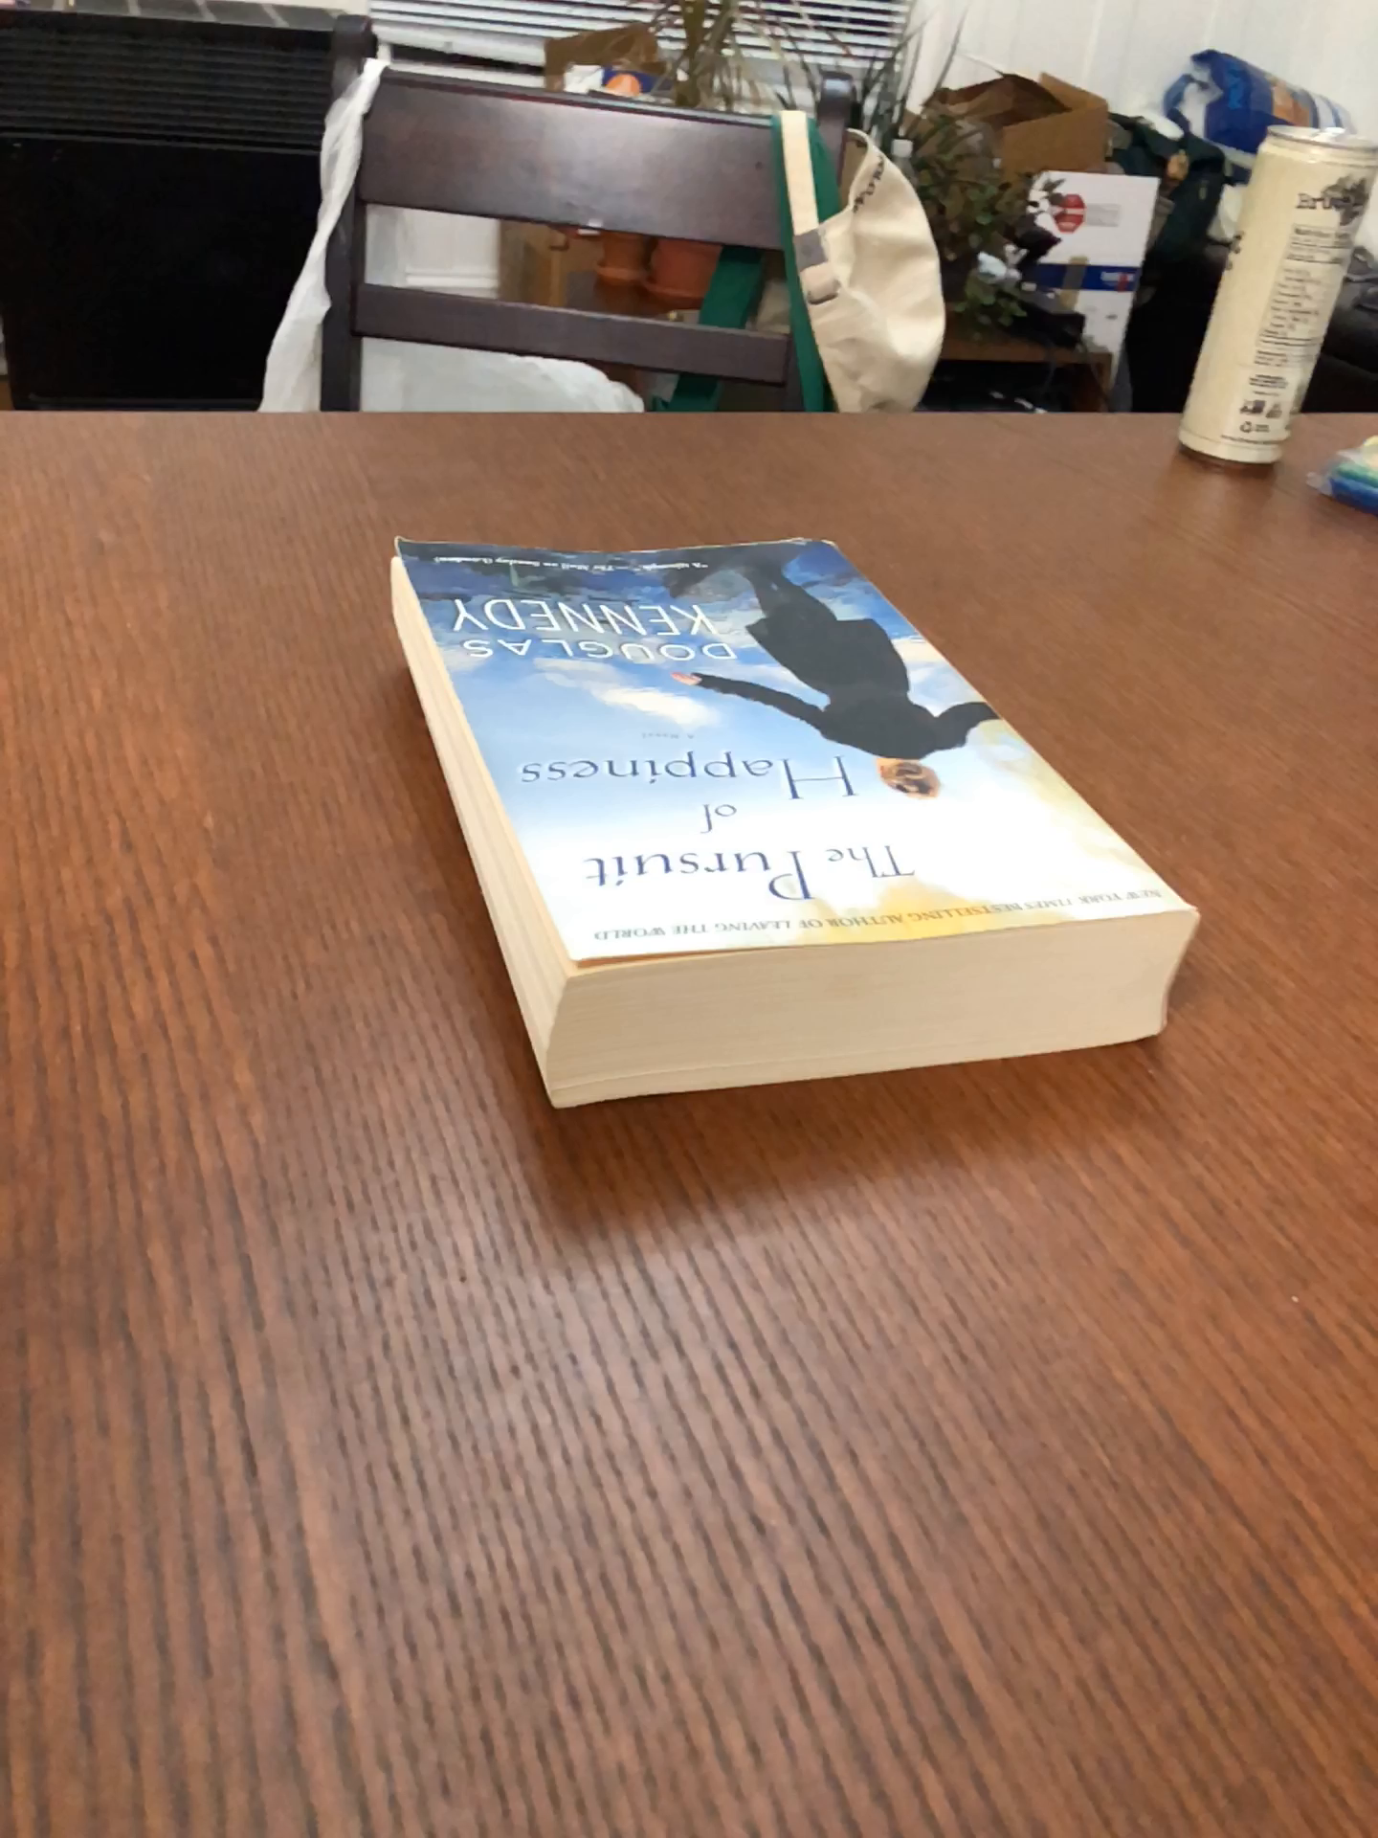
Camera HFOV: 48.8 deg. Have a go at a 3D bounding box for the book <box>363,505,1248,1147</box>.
[{"bbox_3d":[0.008,-0.047,0.413,0.160,0.050,0.241,-5,35,-17],"label":"book"}]
